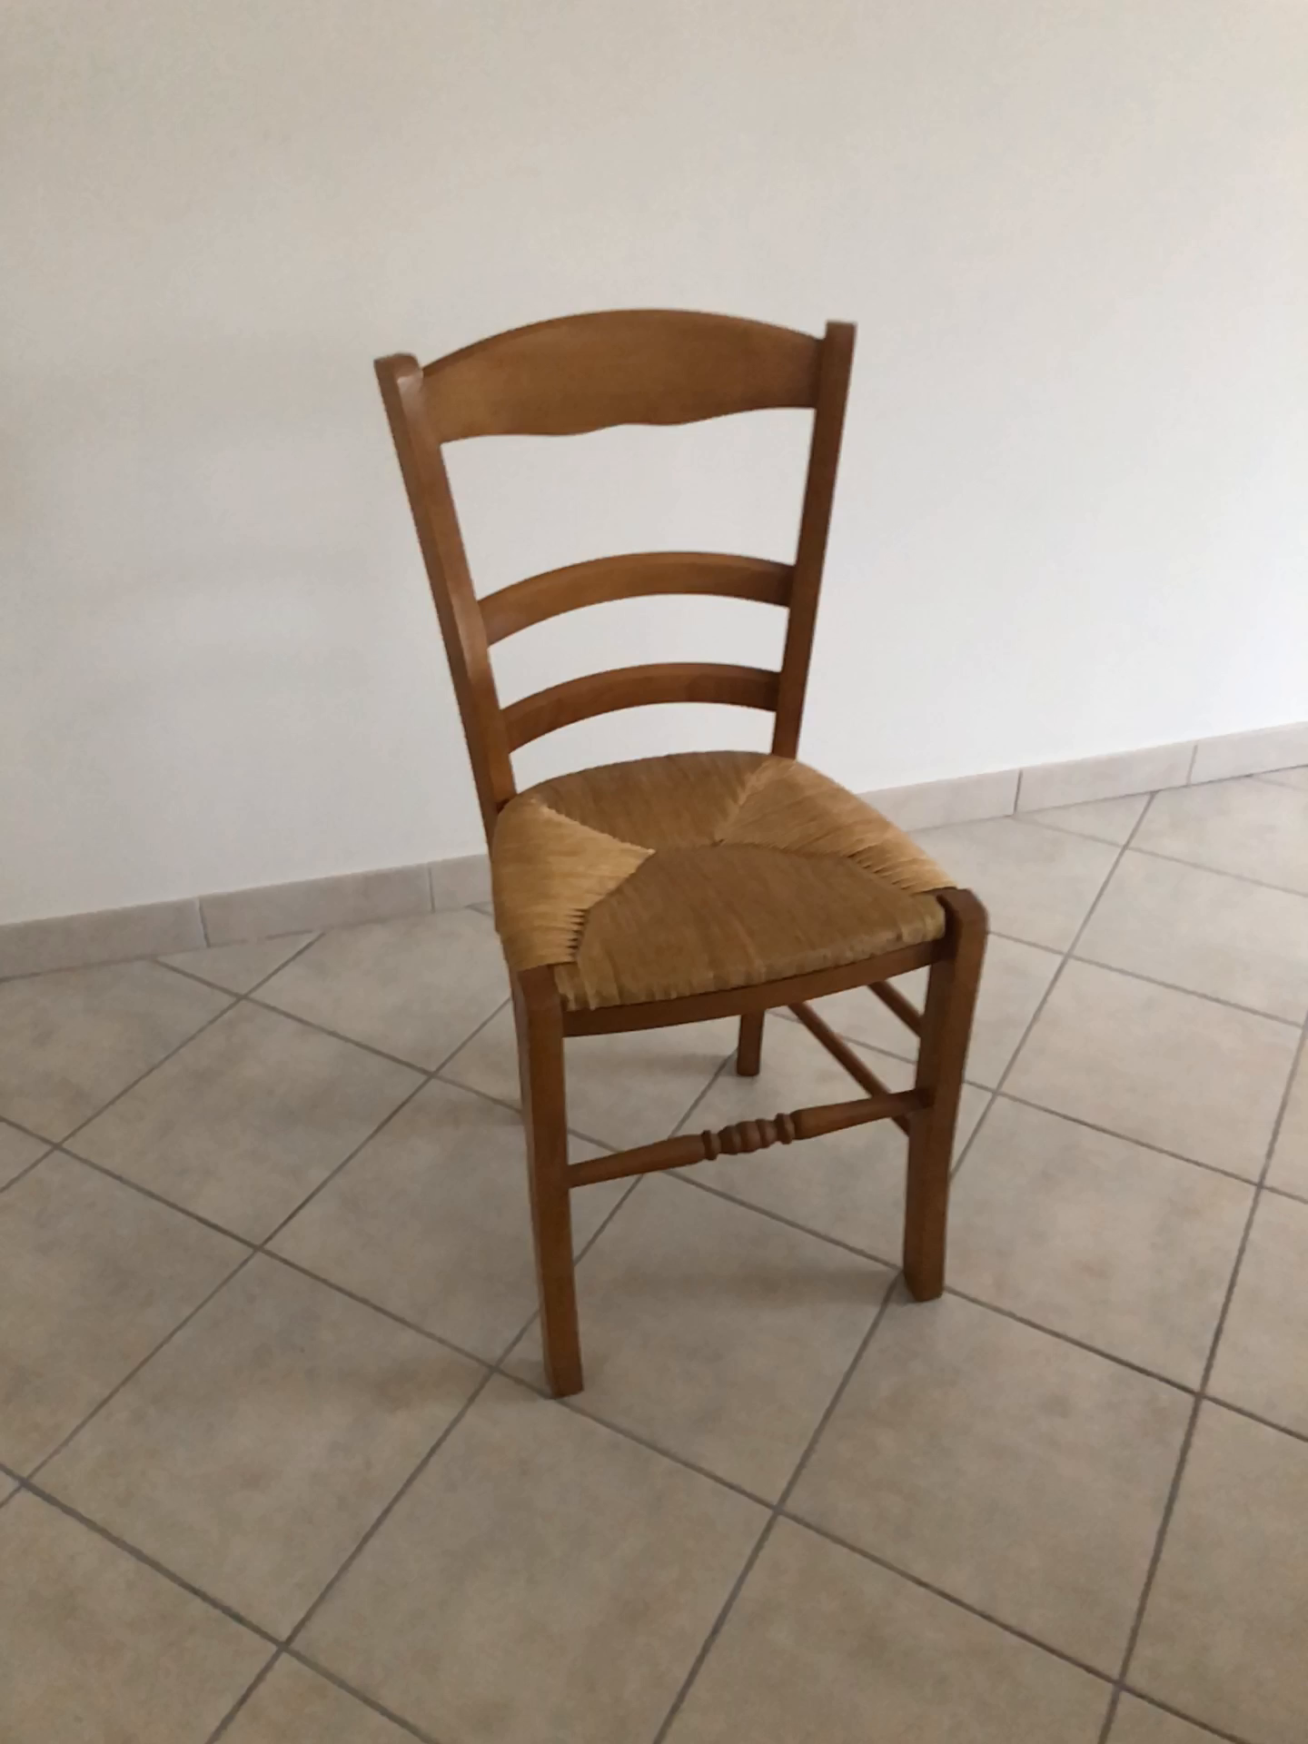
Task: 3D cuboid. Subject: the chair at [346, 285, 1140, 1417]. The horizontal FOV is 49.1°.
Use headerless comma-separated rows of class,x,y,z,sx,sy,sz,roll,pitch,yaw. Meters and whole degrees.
chair,0.029,-0.028,1.301,0.451,0.825,0.502,-10,35,-14
